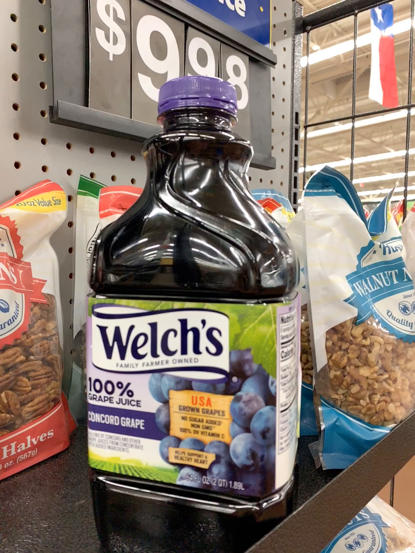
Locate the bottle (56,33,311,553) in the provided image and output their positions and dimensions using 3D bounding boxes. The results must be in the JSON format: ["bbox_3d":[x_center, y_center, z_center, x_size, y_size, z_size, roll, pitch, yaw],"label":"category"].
[{"bbox_3d":[-0.005,0.021,0.257,0.120,0.260,0.100,1,3,19],"label":"bottle"}]
